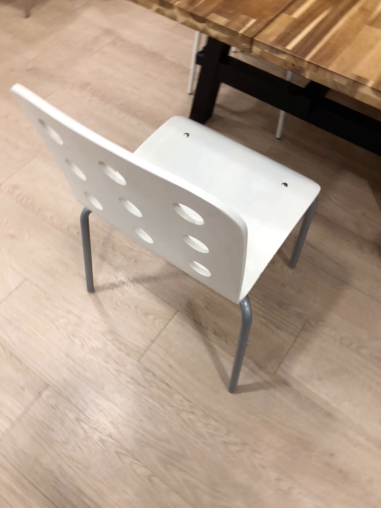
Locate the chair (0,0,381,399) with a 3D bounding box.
[{"bbox_3d":[0.027,-0.125,0.958,0.571,0.717,0.491,29,62,17],"label":"chair"}]
